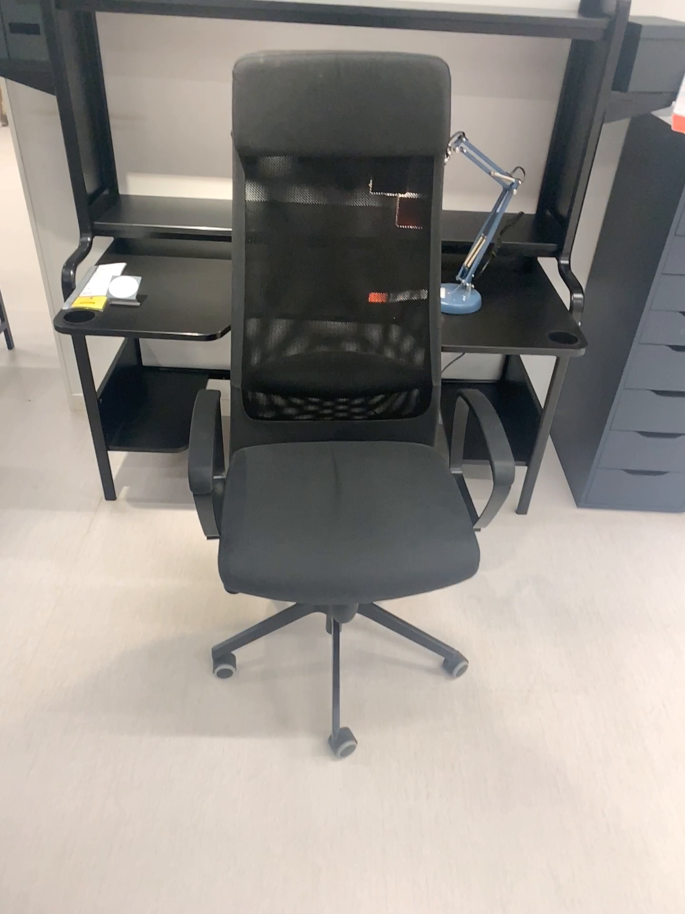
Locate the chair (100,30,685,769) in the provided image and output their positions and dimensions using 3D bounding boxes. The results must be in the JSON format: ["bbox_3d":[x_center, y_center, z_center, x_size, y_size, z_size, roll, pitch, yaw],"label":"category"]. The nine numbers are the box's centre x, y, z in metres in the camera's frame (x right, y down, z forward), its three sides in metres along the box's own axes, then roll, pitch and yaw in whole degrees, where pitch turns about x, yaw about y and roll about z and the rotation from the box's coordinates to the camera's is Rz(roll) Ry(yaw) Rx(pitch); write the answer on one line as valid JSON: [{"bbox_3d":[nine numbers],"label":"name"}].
[{"bbox_3d":[0.016,-0.075,1.389,0.640,1.244,0.713,-1,36,-5],"label":"chair"}]
